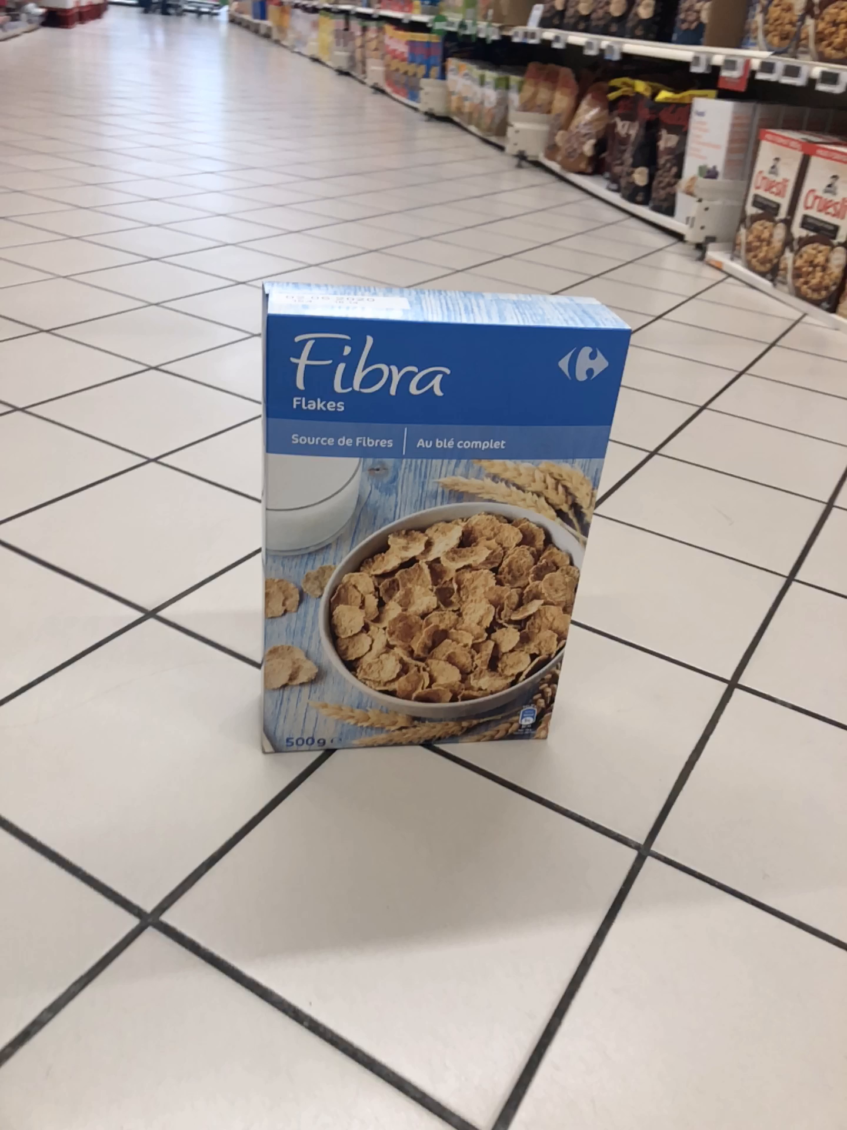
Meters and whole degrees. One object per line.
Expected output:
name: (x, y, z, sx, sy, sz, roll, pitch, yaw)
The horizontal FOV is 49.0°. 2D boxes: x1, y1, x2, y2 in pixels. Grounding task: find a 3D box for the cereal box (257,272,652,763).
cereal box: (0.002, -0.018, 0.568, 0.200, 0.288, 0.070, 0, 30, -11)
